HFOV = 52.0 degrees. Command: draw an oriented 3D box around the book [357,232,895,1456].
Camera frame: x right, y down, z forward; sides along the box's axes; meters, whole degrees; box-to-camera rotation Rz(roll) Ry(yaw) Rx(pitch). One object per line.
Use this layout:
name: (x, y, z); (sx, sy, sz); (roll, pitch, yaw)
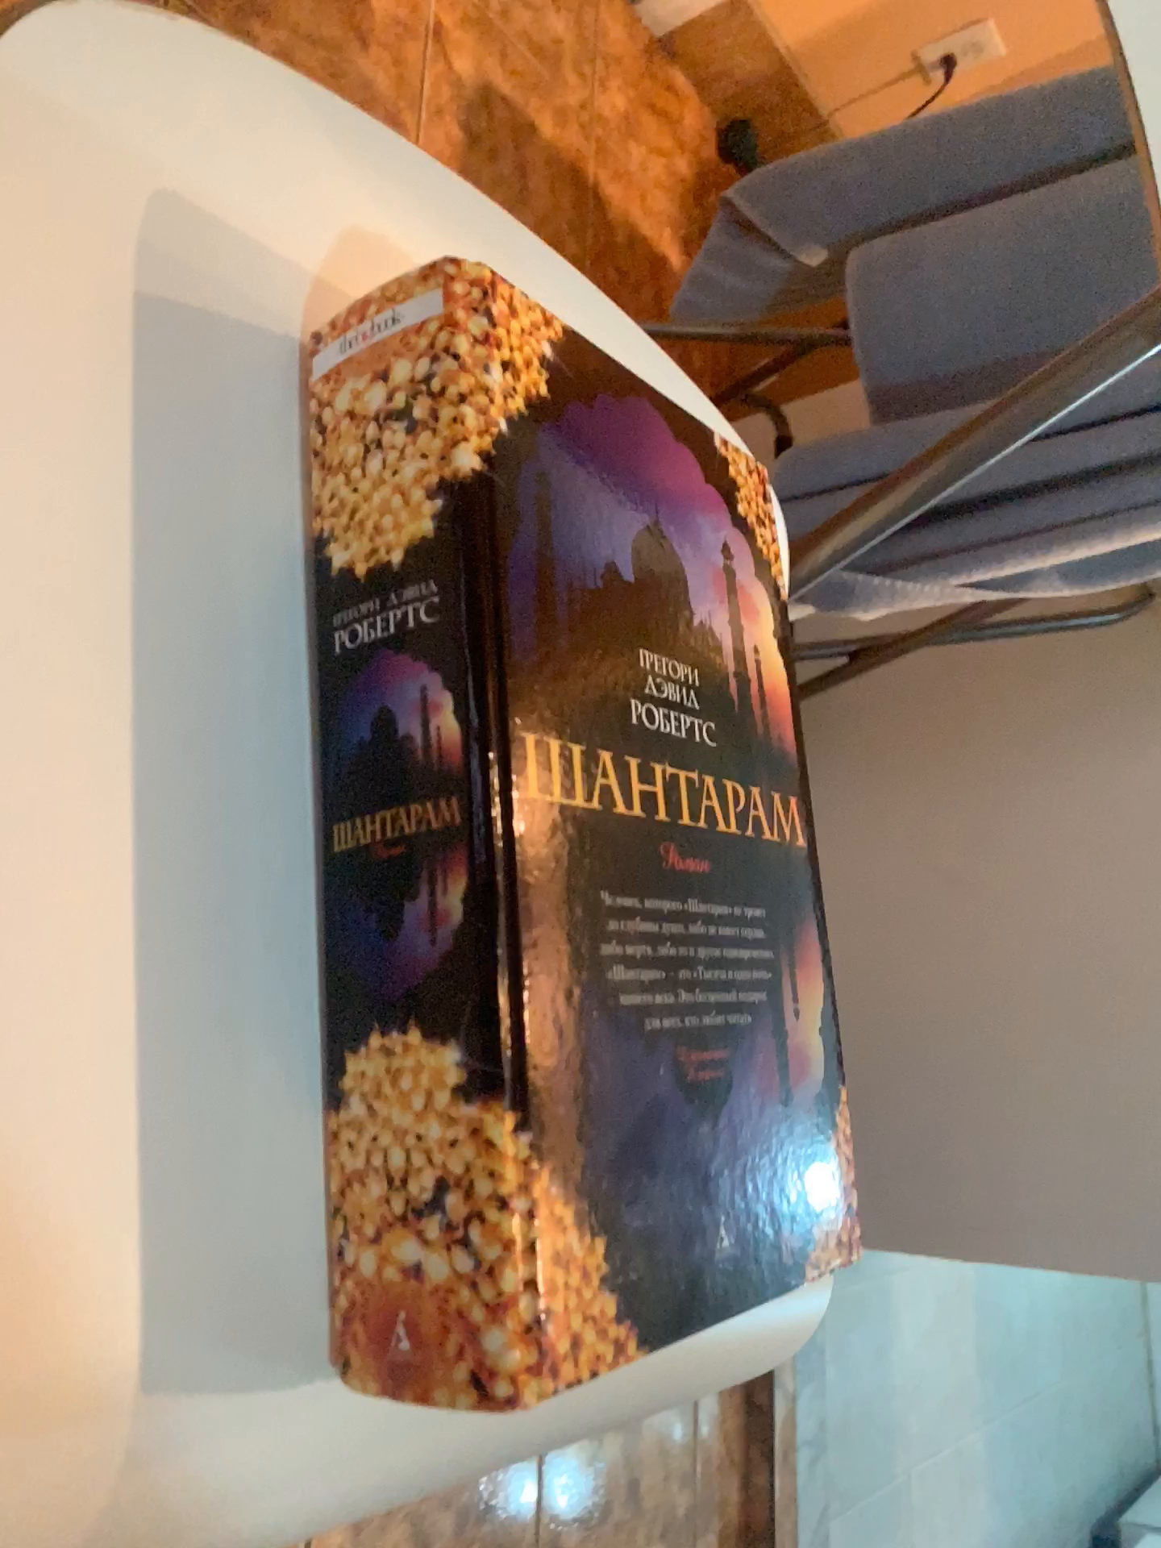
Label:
book: (0.016, 0.014, 0.297); (0.146, 0.044, 0.236); (12, 71, -51)
